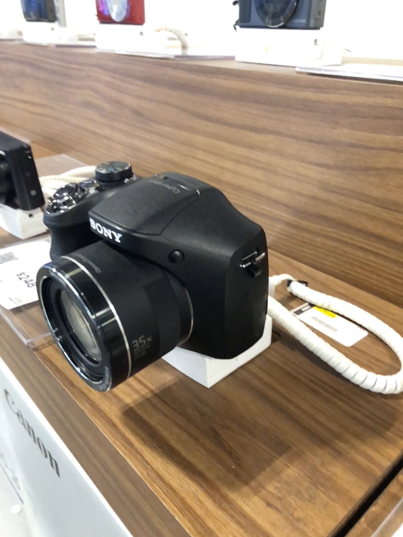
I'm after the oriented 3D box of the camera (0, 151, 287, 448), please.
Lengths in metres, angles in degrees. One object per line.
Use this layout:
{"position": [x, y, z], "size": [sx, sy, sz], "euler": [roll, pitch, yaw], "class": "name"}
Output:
{"position": [-0.036, 0.001, 0.236], "size": [0.090, 0.092, 0.121], "euler": [-22, 35, -39], "class": "camera"}
